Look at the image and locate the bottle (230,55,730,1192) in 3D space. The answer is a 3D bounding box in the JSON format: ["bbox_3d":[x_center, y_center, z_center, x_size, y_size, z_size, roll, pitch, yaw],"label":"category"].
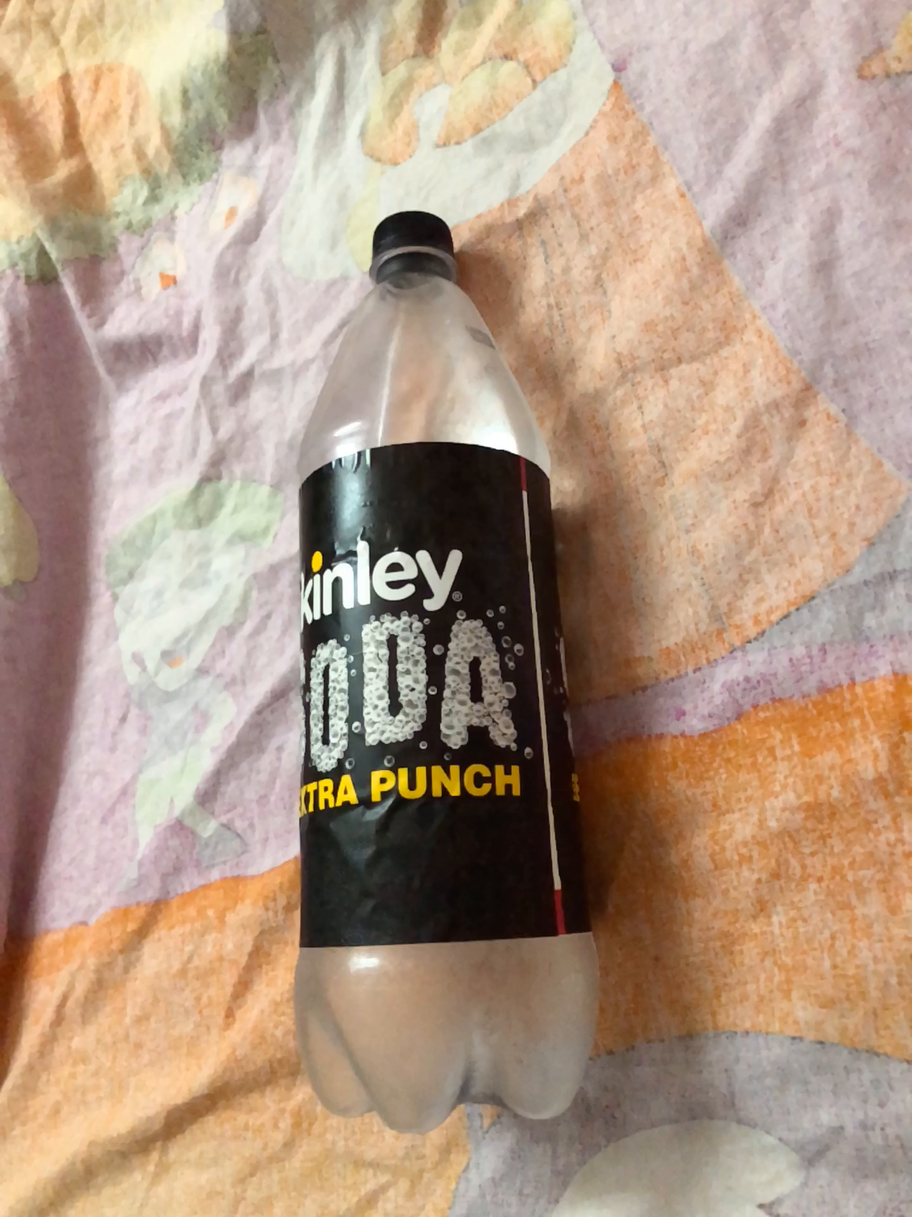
[{"bbox_3d":[0.003,0.001,0.297,0.090,0.080,0.280,-13,75,27],"label":"bottle"}]
